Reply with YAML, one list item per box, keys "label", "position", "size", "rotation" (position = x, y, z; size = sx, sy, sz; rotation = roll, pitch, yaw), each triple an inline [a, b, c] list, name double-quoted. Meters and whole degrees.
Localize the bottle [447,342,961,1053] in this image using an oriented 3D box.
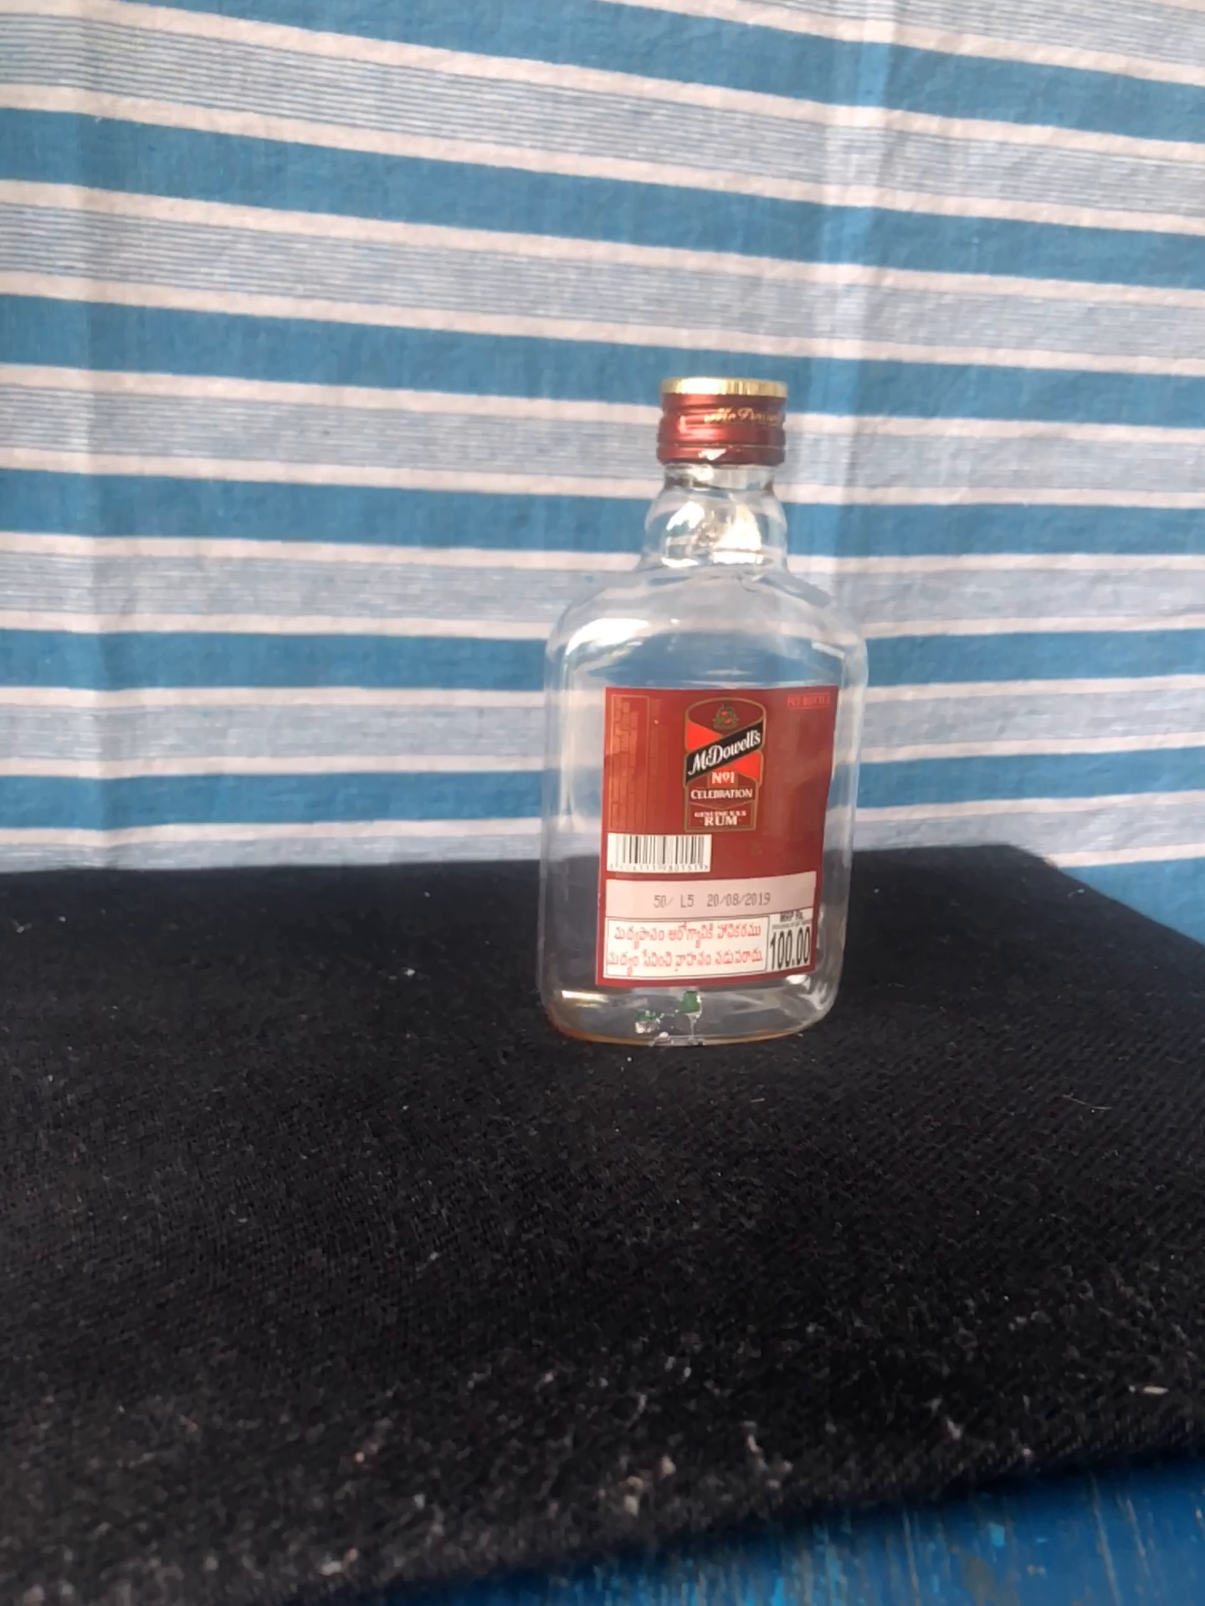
- label: "bottle"
  position: [0.016, -0.020, 0.269]
  size: [0.080, 0.130, 0.040]
  rotation: [1, 17, -16]
